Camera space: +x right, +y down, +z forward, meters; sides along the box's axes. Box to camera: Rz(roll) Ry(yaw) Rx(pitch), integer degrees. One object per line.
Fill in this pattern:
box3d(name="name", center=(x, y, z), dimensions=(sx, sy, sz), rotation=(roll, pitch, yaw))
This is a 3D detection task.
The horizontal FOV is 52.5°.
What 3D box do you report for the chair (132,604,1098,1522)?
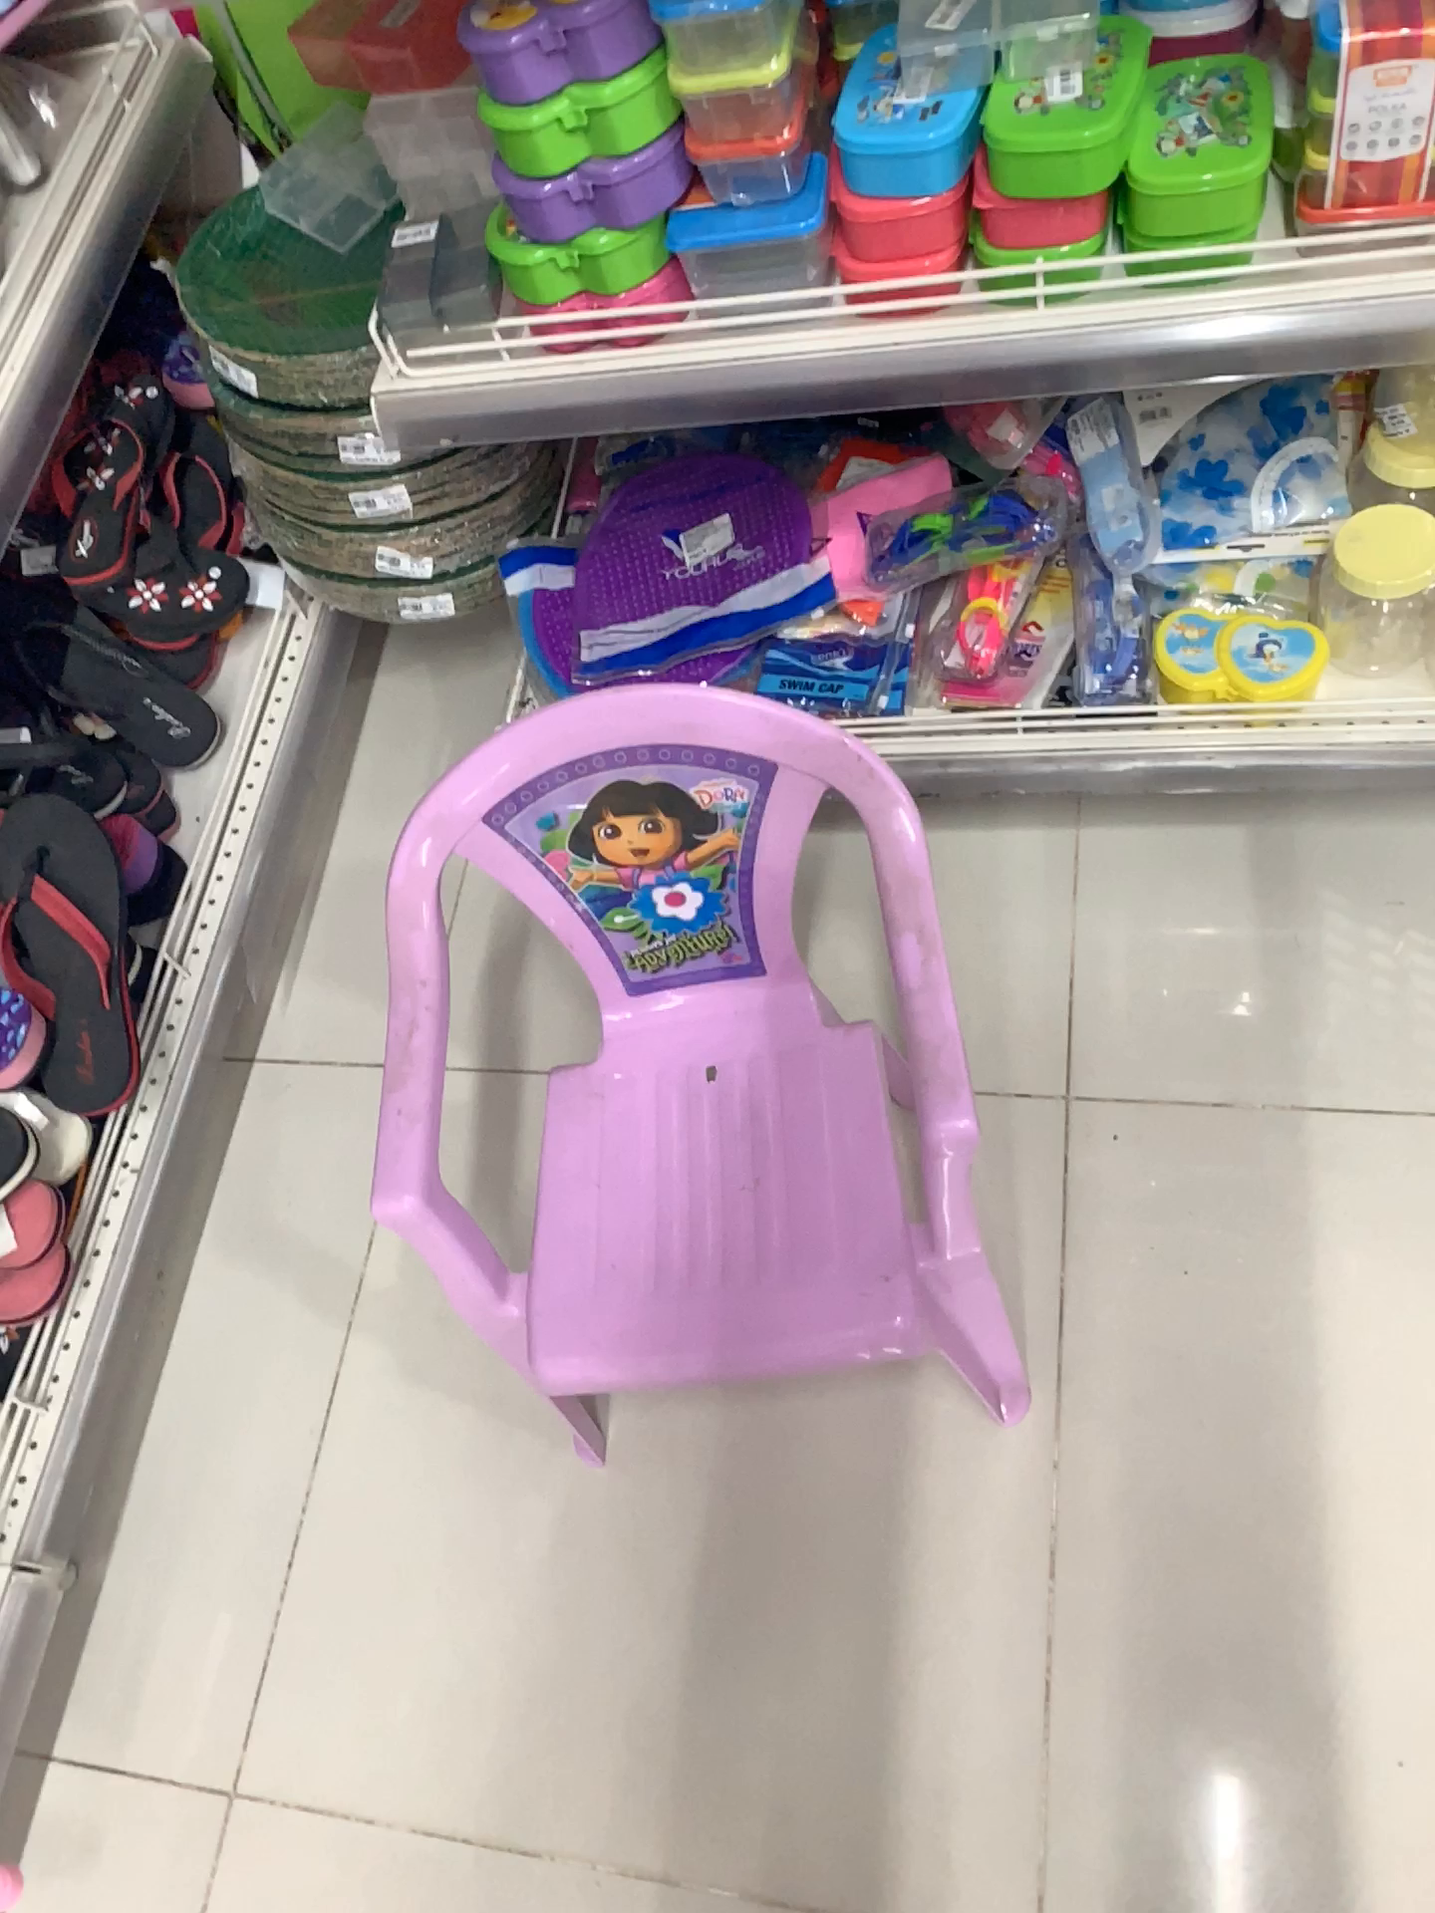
box3d(name="chair", center=(-0.014, 0.106, 0.849), dimensions=(0.400, 0.429, 0.341), rotation=(-9, 61, 11))
